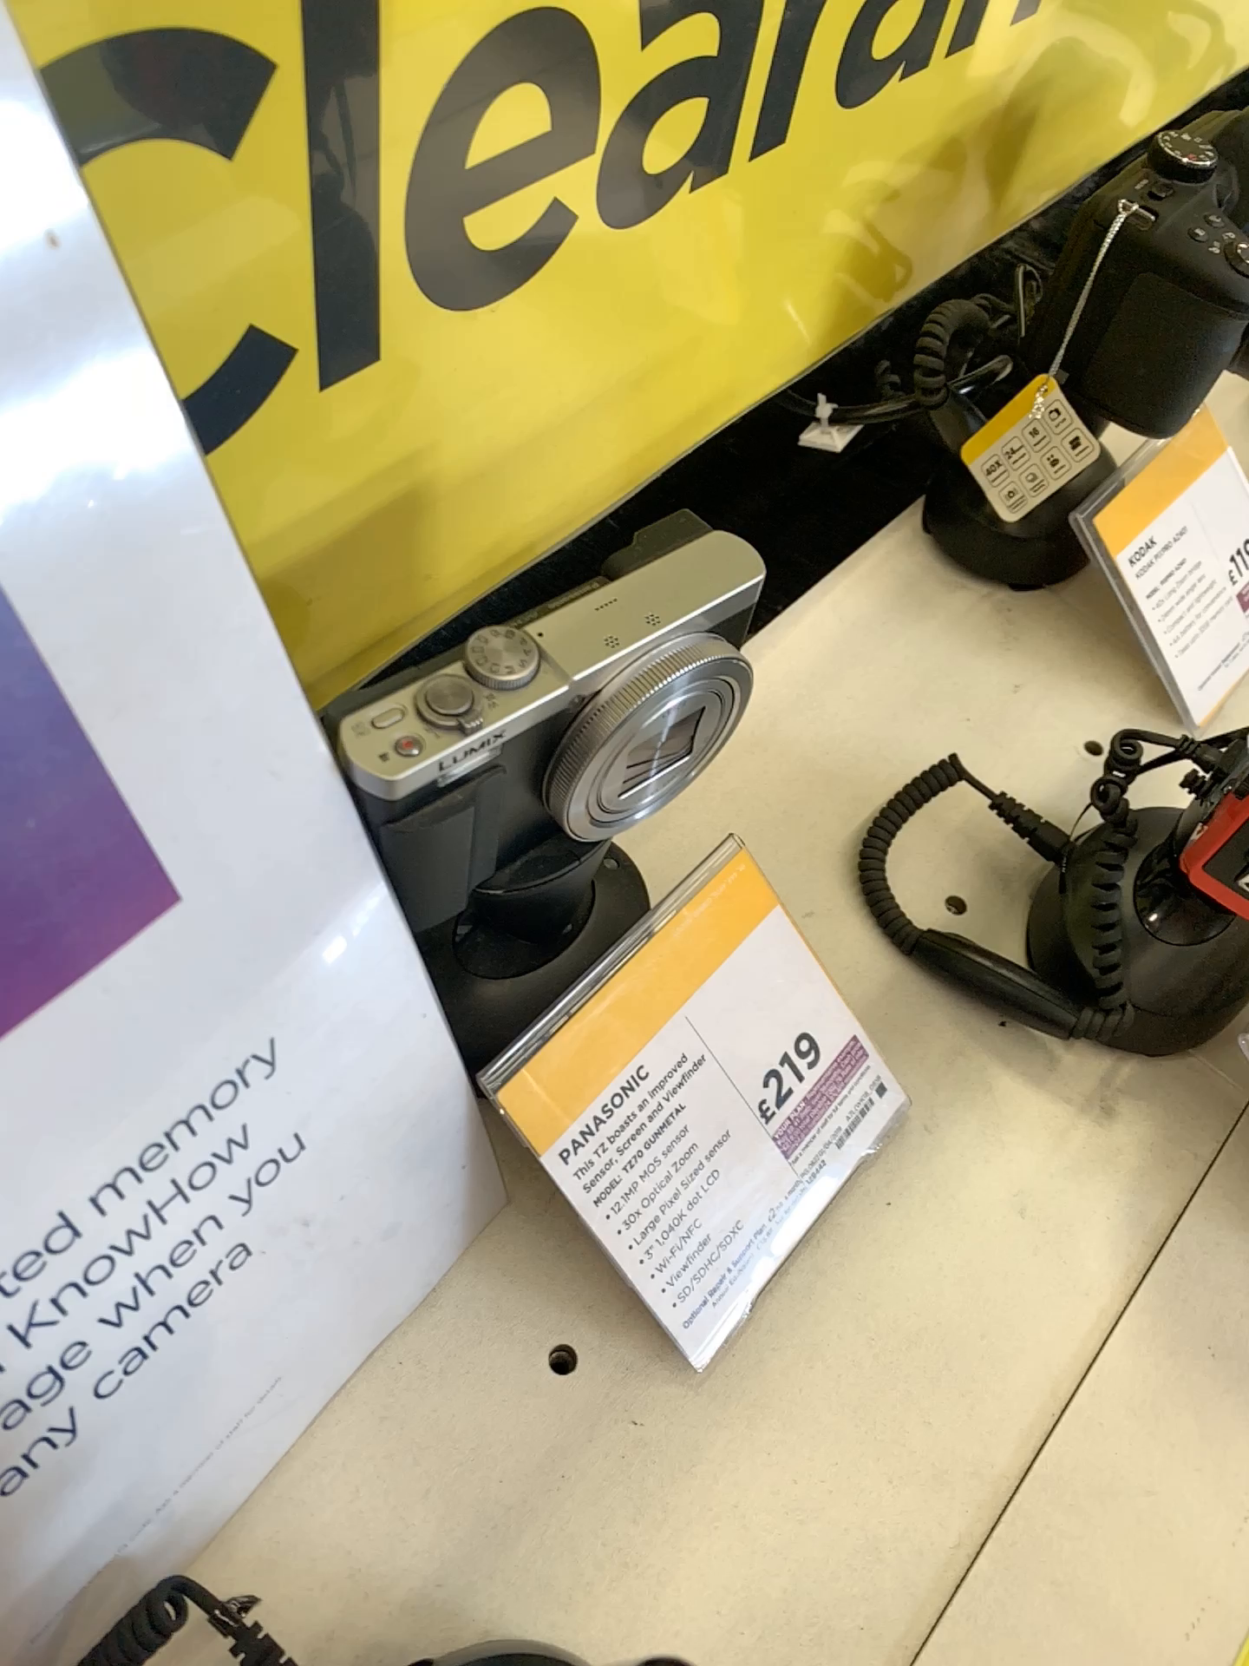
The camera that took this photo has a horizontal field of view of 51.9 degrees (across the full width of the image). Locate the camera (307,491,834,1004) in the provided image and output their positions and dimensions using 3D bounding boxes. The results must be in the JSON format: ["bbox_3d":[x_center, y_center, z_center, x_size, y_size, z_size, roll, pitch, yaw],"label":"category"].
[{"bbox_3d":[-0.013,-0.020,0.296,0.110,0.069,0.040,-33,67,-27],"label":"camera"}]
